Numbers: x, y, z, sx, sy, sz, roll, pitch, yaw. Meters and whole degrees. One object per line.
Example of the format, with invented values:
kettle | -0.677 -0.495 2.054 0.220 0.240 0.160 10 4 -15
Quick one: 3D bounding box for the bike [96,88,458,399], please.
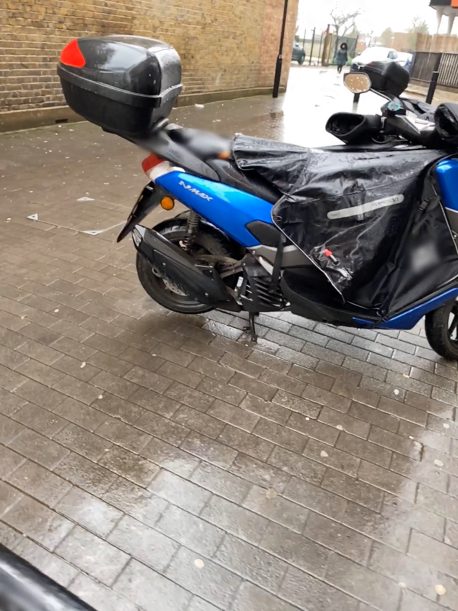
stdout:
bike | 0.441 -0.285 2.018 1.730 0.998 0.681 5 29 0
